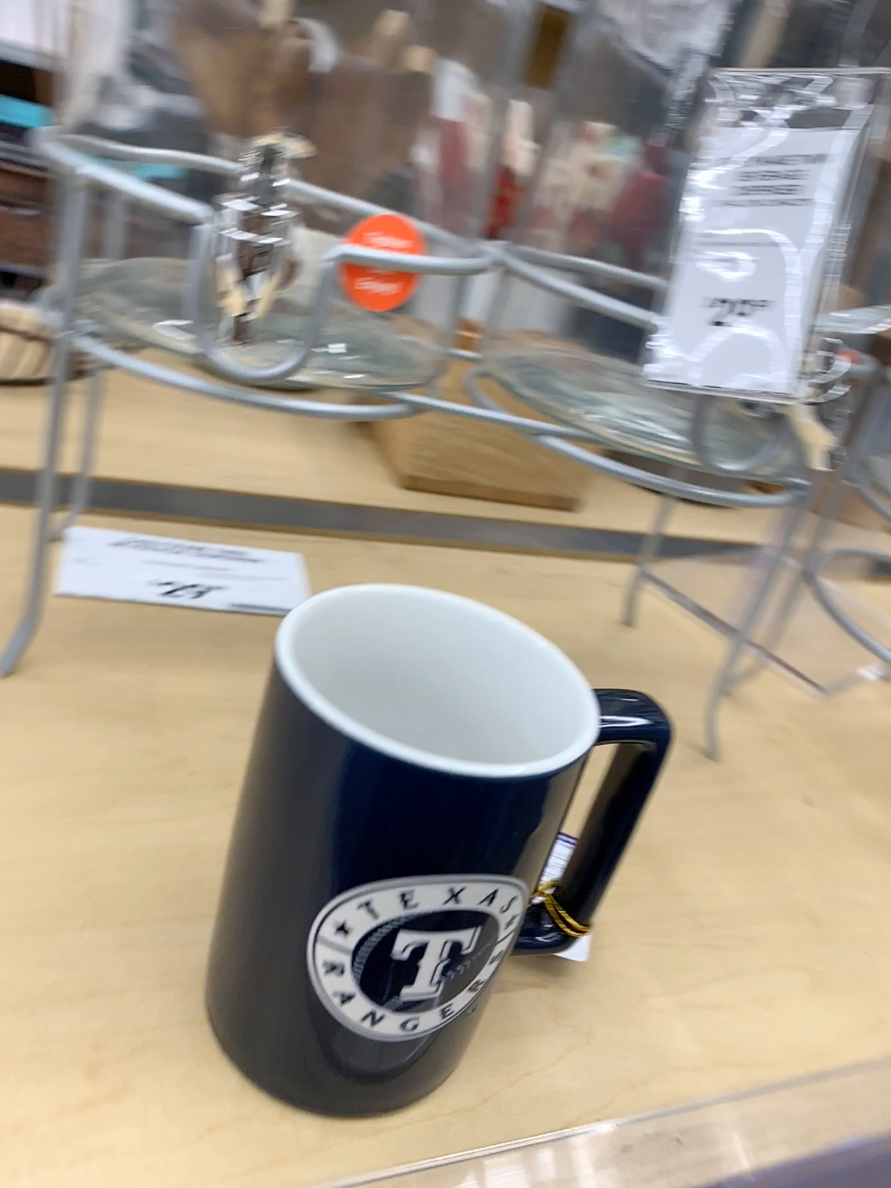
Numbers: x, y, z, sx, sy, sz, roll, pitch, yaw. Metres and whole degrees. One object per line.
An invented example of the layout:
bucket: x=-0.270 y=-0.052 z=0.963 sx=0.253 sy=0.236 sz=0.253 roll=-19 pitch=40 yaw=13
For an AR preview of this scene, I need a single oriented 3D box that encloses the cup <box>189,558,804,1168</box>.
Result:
cup: x=0.002 y=0.070 z=0.270 sx=0.123 sy=0.121 sz=0.097 roll=3 pitch=28 yaw=-25
